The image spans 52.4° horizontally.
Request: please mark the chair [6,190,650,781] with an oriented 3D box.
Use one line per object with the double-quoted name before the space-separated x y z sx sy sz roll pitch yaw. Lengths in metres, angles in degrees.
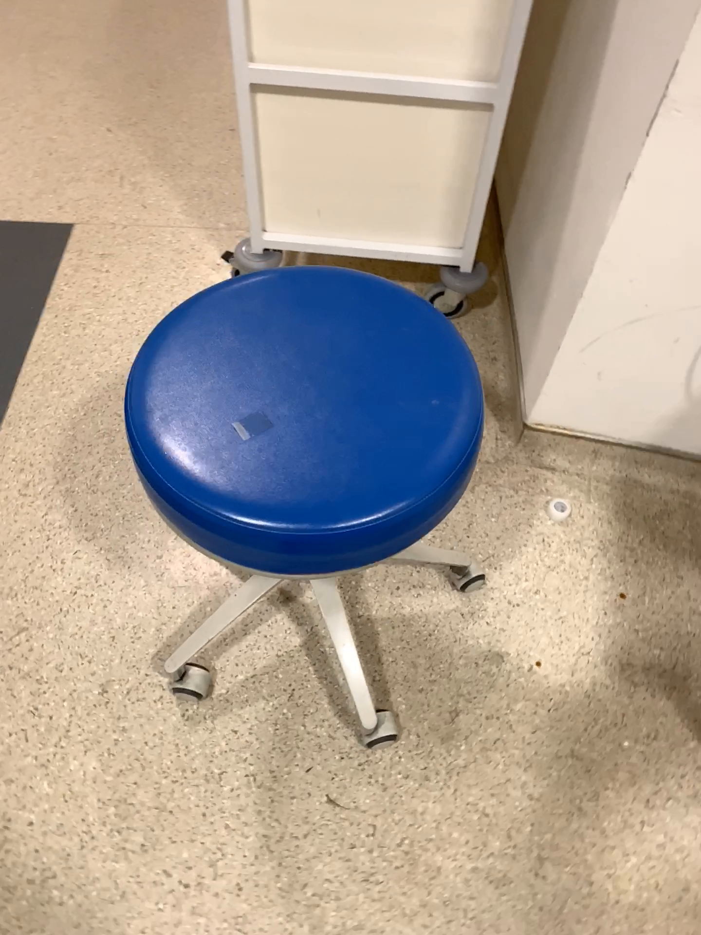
"chair" -0.061 0.058 1.058 0.580 0.635 0.575 -6 57 -7
